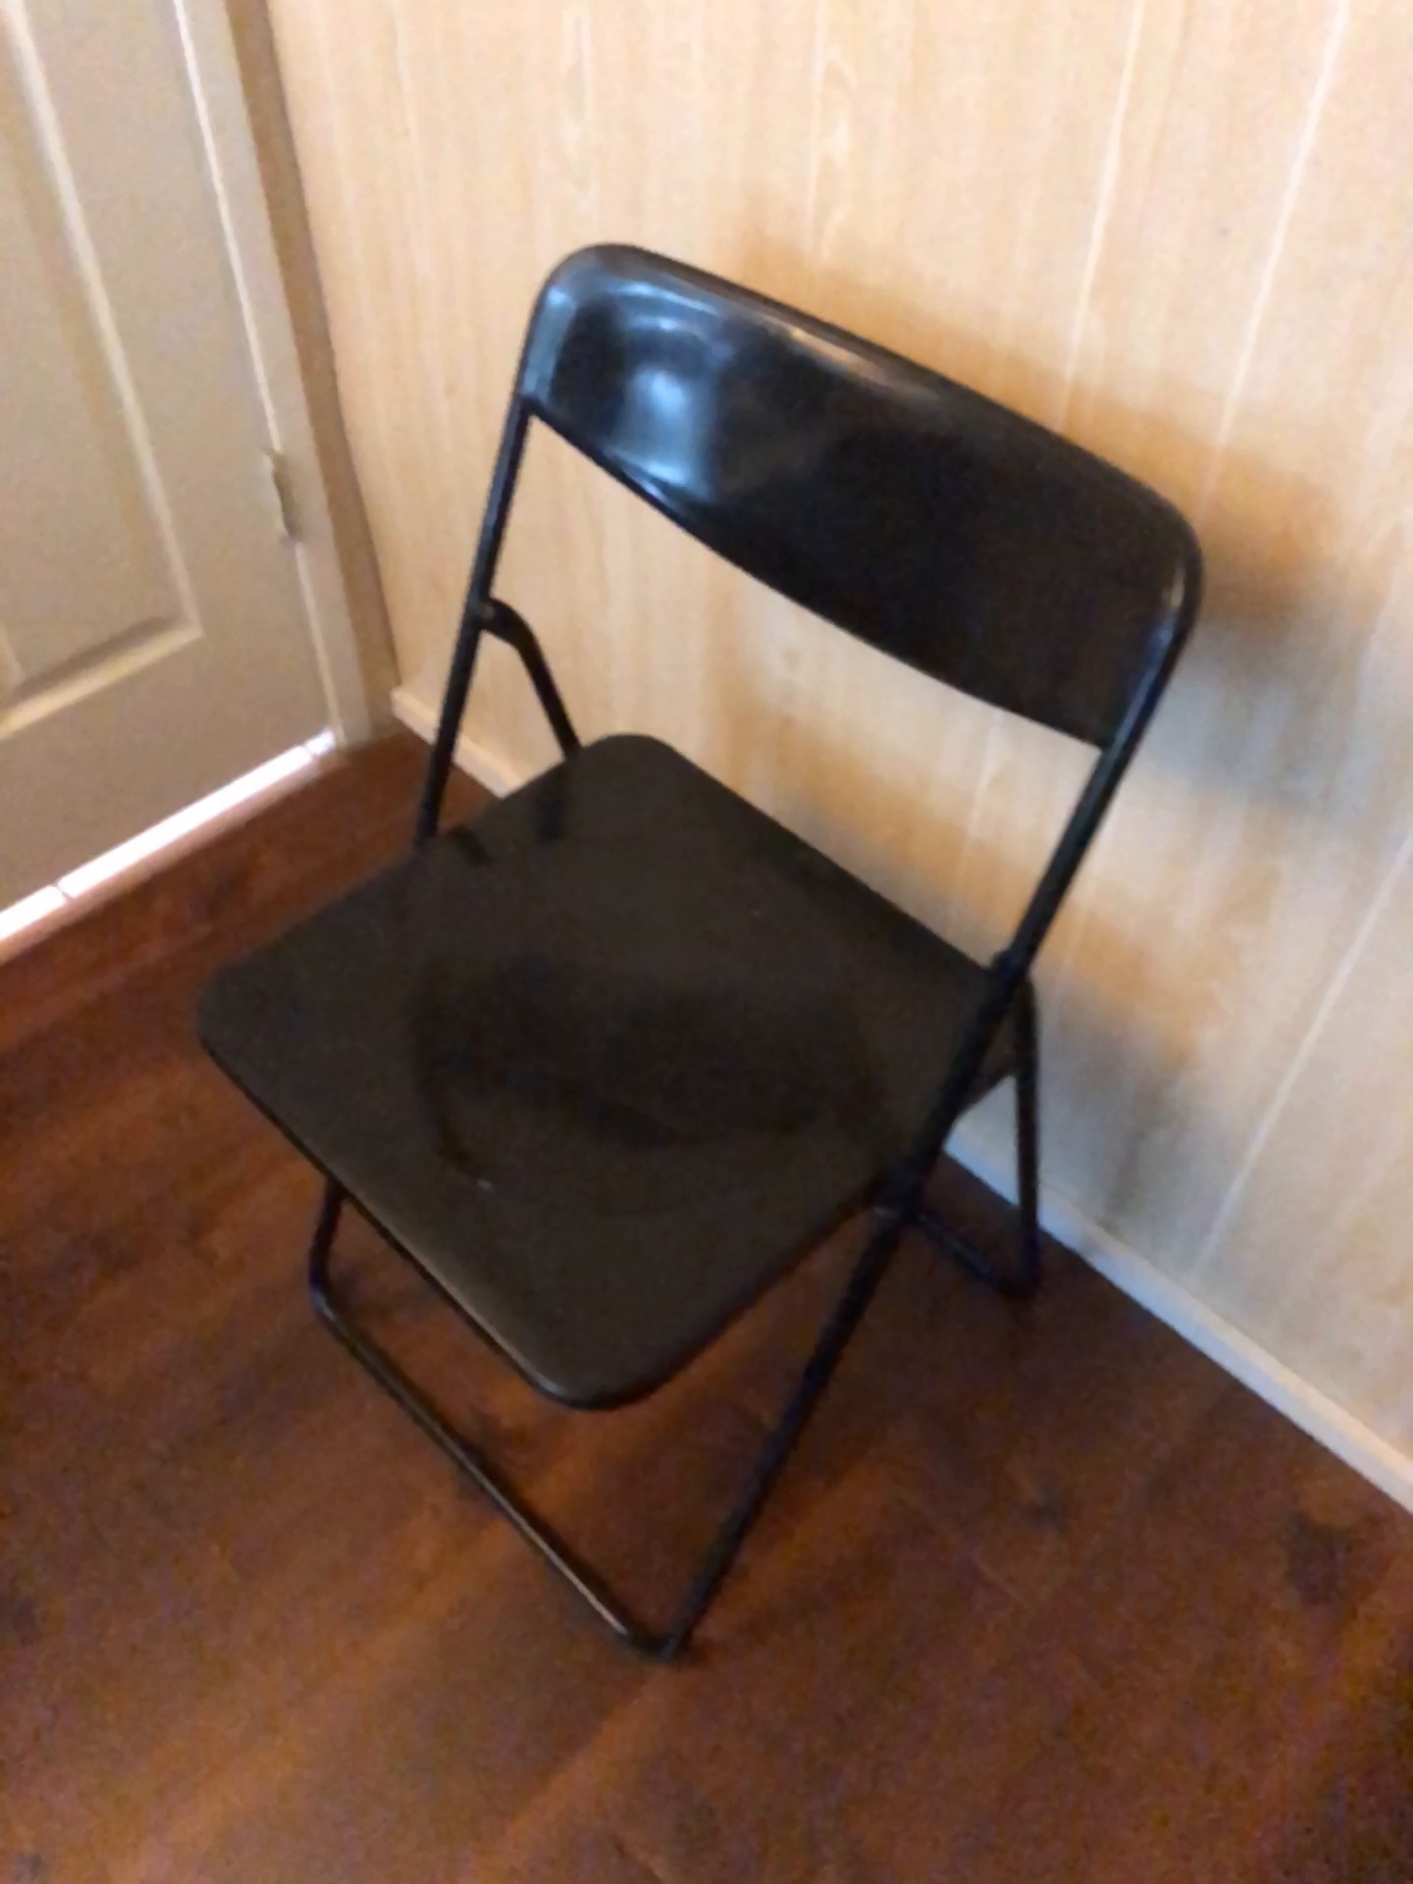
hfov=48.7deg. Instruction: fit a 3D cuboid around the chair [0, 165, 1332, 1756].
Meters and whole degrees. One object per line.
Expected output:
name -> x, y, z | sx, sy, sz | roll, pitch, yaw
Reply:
chair -> -0.069, 0.028, 0.932 | 0.471, 0.666, 0.492 | -37, 59, -27
